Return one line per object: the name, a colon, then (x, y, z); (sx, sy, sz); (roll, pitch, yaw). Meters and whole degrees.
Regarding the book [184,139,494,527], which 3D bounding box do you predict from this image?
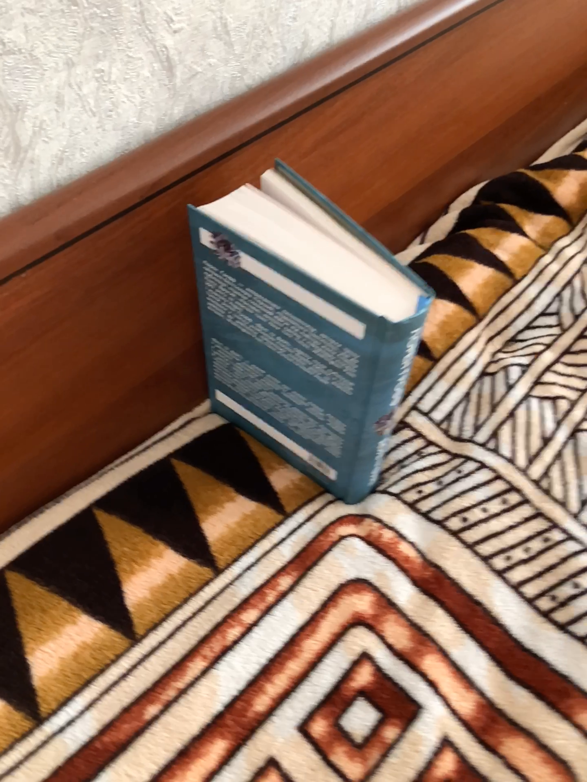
book: (0.019, -0.031, 0.434); (0.078, 0.199, 0.160); (-38, 62, -26)
